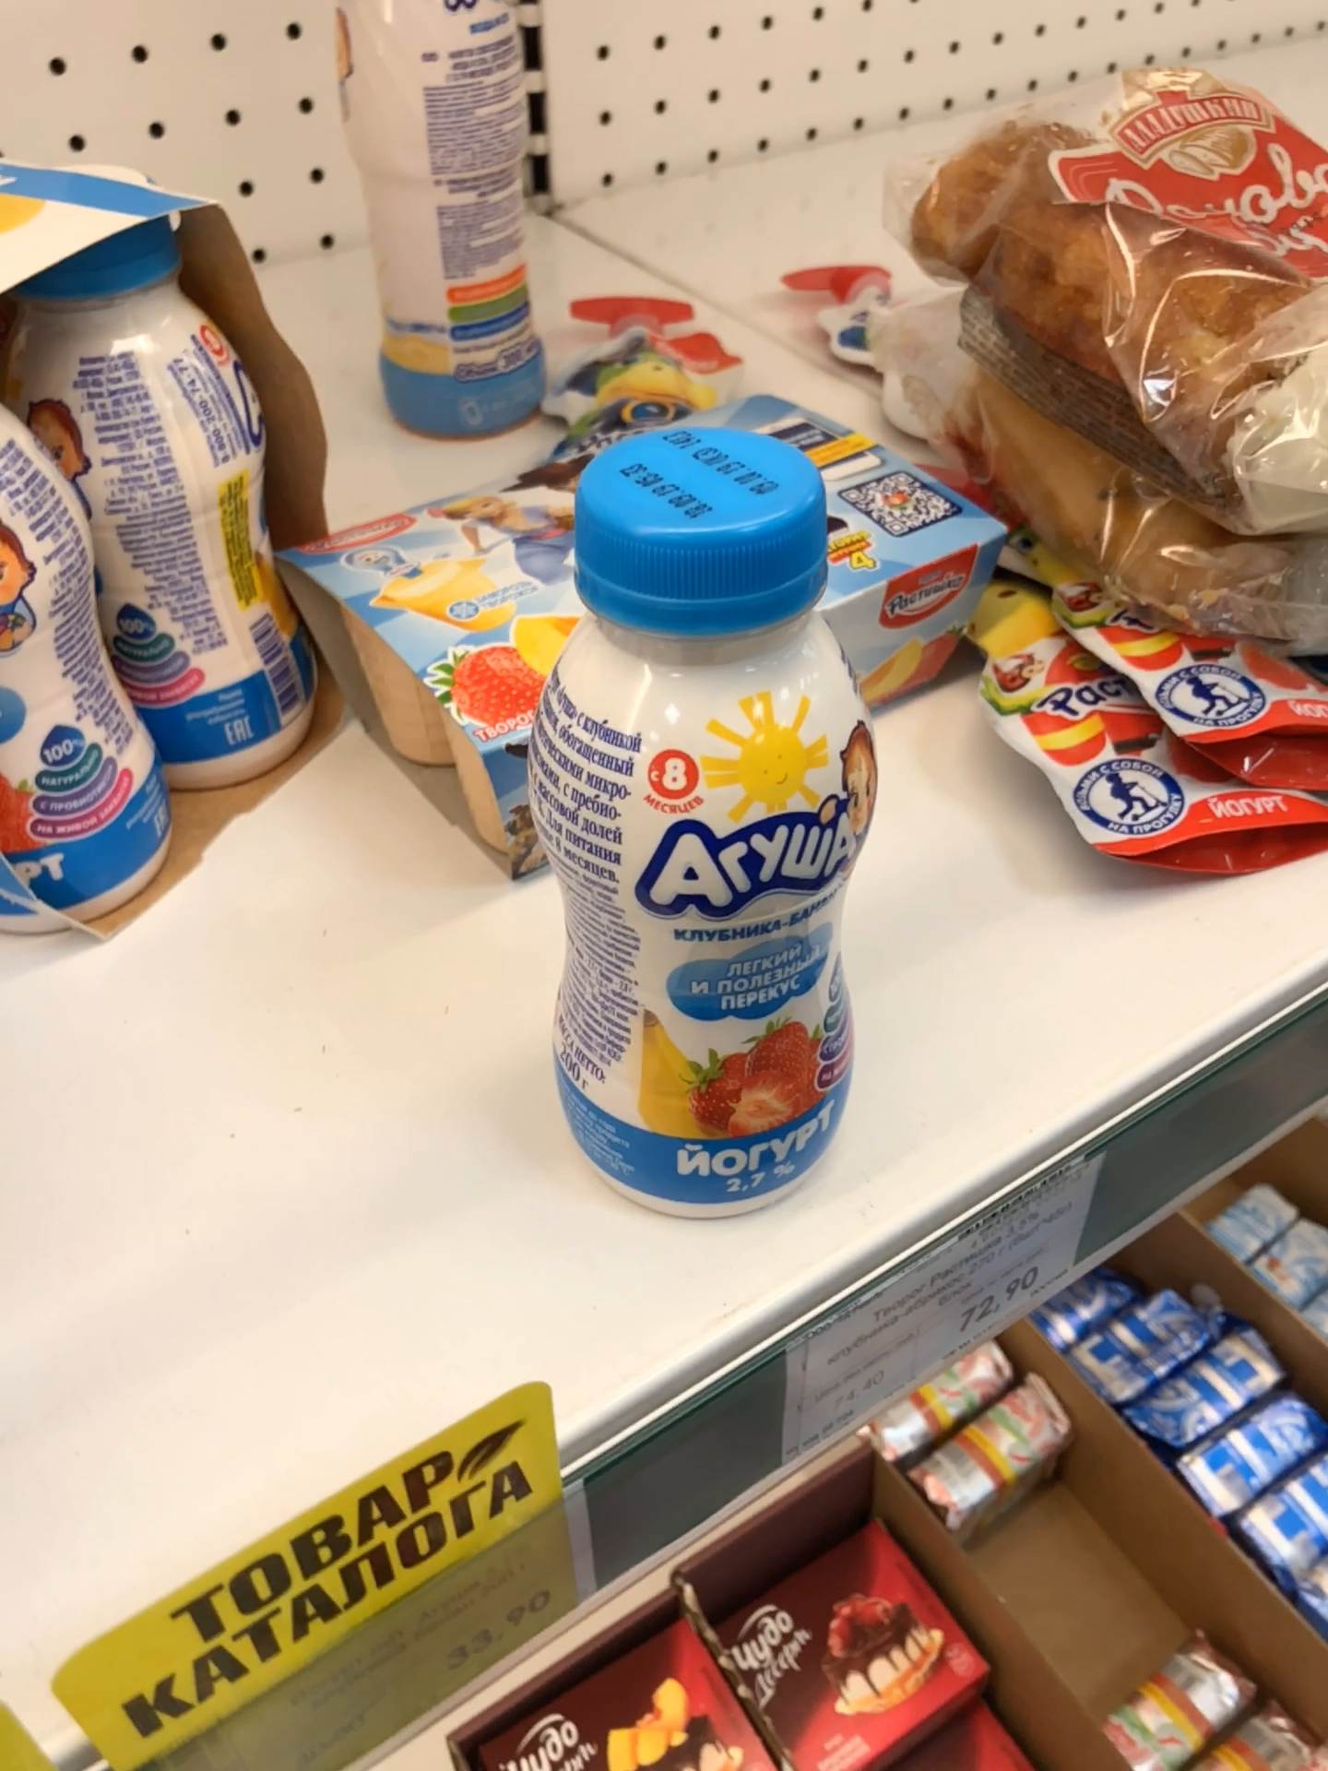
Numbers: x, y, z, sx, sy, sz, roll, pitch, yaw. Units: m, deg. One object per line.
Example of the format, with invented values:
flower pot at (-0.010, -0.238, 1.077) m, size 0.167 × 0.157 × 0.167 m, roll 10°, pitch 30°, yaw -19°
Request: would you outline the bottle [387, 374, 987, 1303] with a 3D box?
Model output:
bottle at (0.002, -0.004, 0.241) m, size 0.060 × 0.129 × 0.060 m, roll -1°, pitch 42°, yaw 1°
